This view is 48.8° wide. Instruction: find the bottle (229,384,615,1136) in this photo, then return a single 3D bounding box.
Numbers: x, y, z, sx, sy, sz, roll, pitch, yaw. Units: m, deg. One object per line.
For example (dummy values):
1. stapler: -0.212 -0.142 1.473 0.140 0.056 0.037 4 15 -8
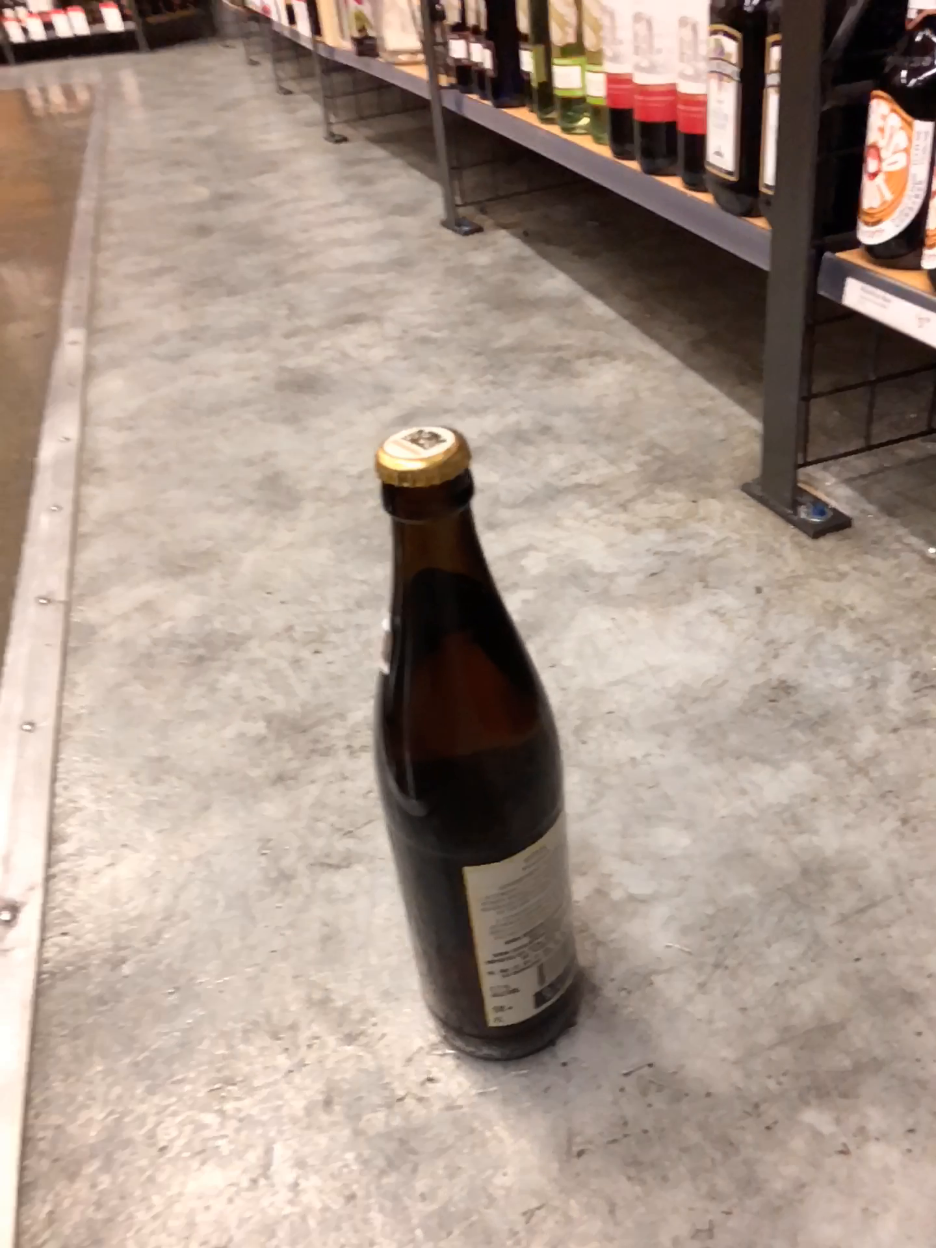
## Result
1. bottle: -0.005 0.057 0.347 0.070 0.249 0.070 -6 34 4
